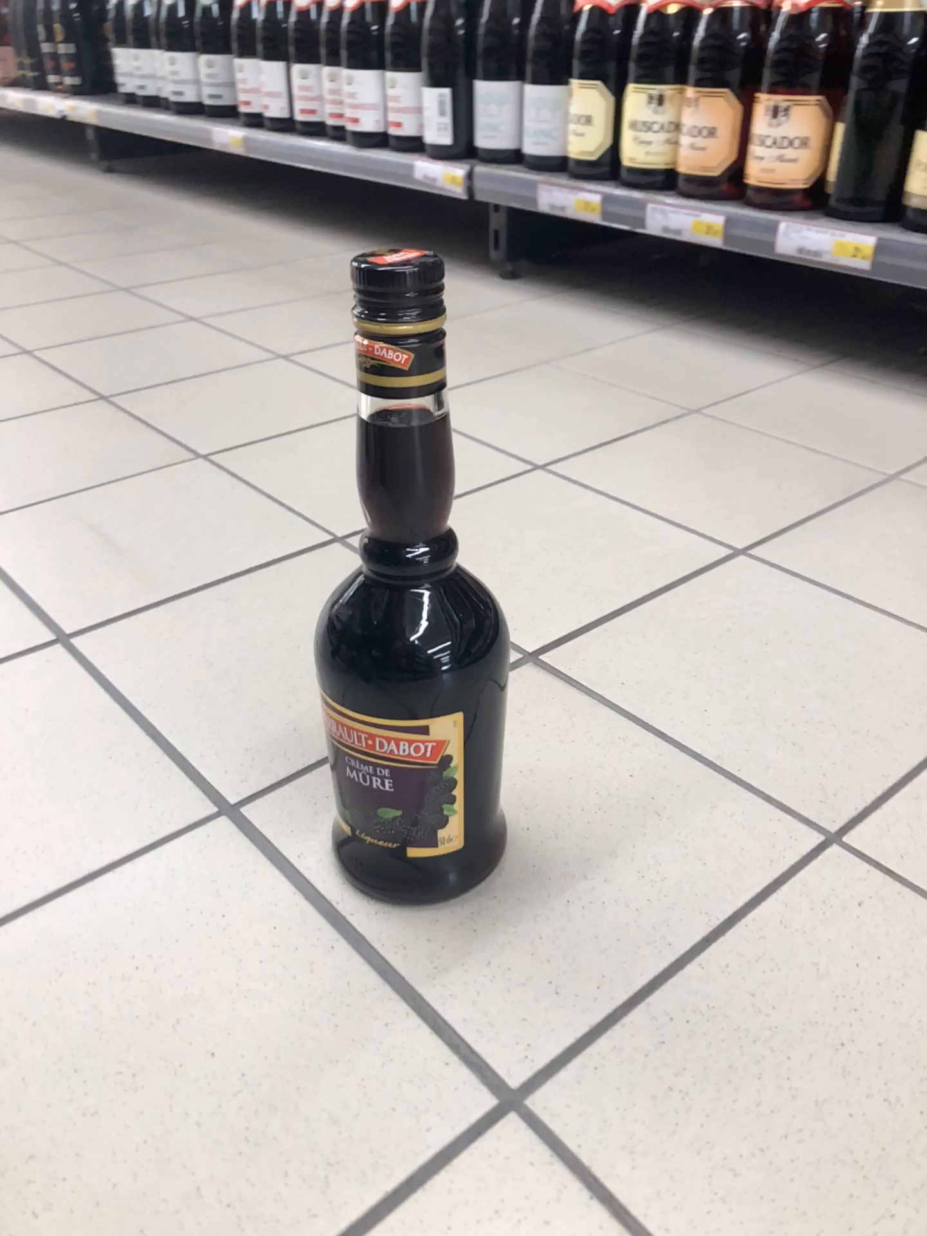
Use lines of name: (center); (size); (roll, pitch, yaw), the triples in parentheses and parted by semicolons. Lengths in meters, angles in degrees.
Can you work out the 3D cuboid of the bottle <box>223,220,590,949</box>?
bottle: (-0.016, -0.008, 0.397); (0.090, 0.258, 0.080); (17, 34, 28)
